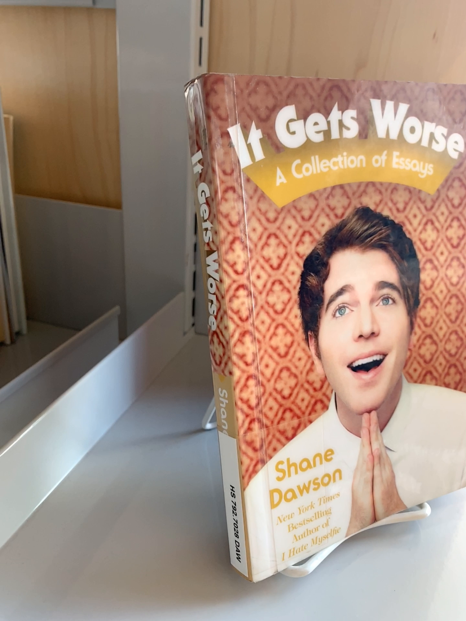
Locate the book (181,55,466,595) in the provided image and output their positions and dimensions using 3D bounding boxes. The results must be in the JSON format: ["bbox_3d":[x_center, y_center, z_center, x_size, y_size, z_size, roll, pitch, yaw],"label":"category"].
[{"bbox_3d":[0.058,0.003,0.232,0.149,0.209,0.030,-10,13,-28],"label":"book"}]
